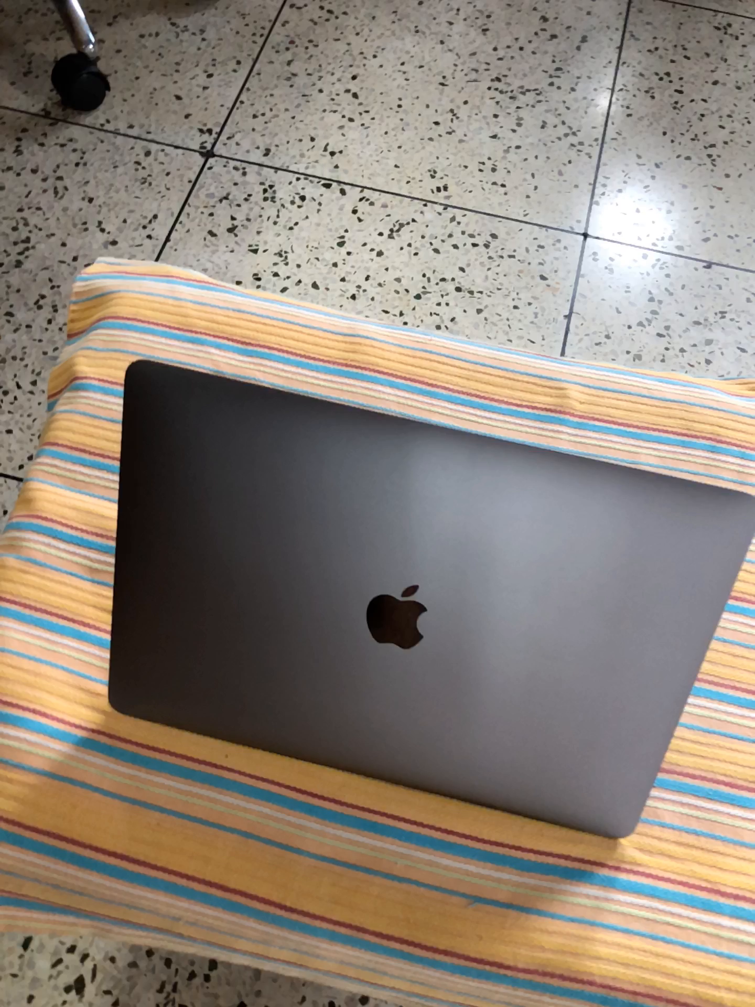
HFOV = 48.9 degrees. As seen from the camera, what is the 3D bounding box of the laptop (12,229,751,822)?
[{"bbox_3d":[0.014,0.017,0.446,0.294,0.160,0.204,14,64,5],"label":"laptop"}]
